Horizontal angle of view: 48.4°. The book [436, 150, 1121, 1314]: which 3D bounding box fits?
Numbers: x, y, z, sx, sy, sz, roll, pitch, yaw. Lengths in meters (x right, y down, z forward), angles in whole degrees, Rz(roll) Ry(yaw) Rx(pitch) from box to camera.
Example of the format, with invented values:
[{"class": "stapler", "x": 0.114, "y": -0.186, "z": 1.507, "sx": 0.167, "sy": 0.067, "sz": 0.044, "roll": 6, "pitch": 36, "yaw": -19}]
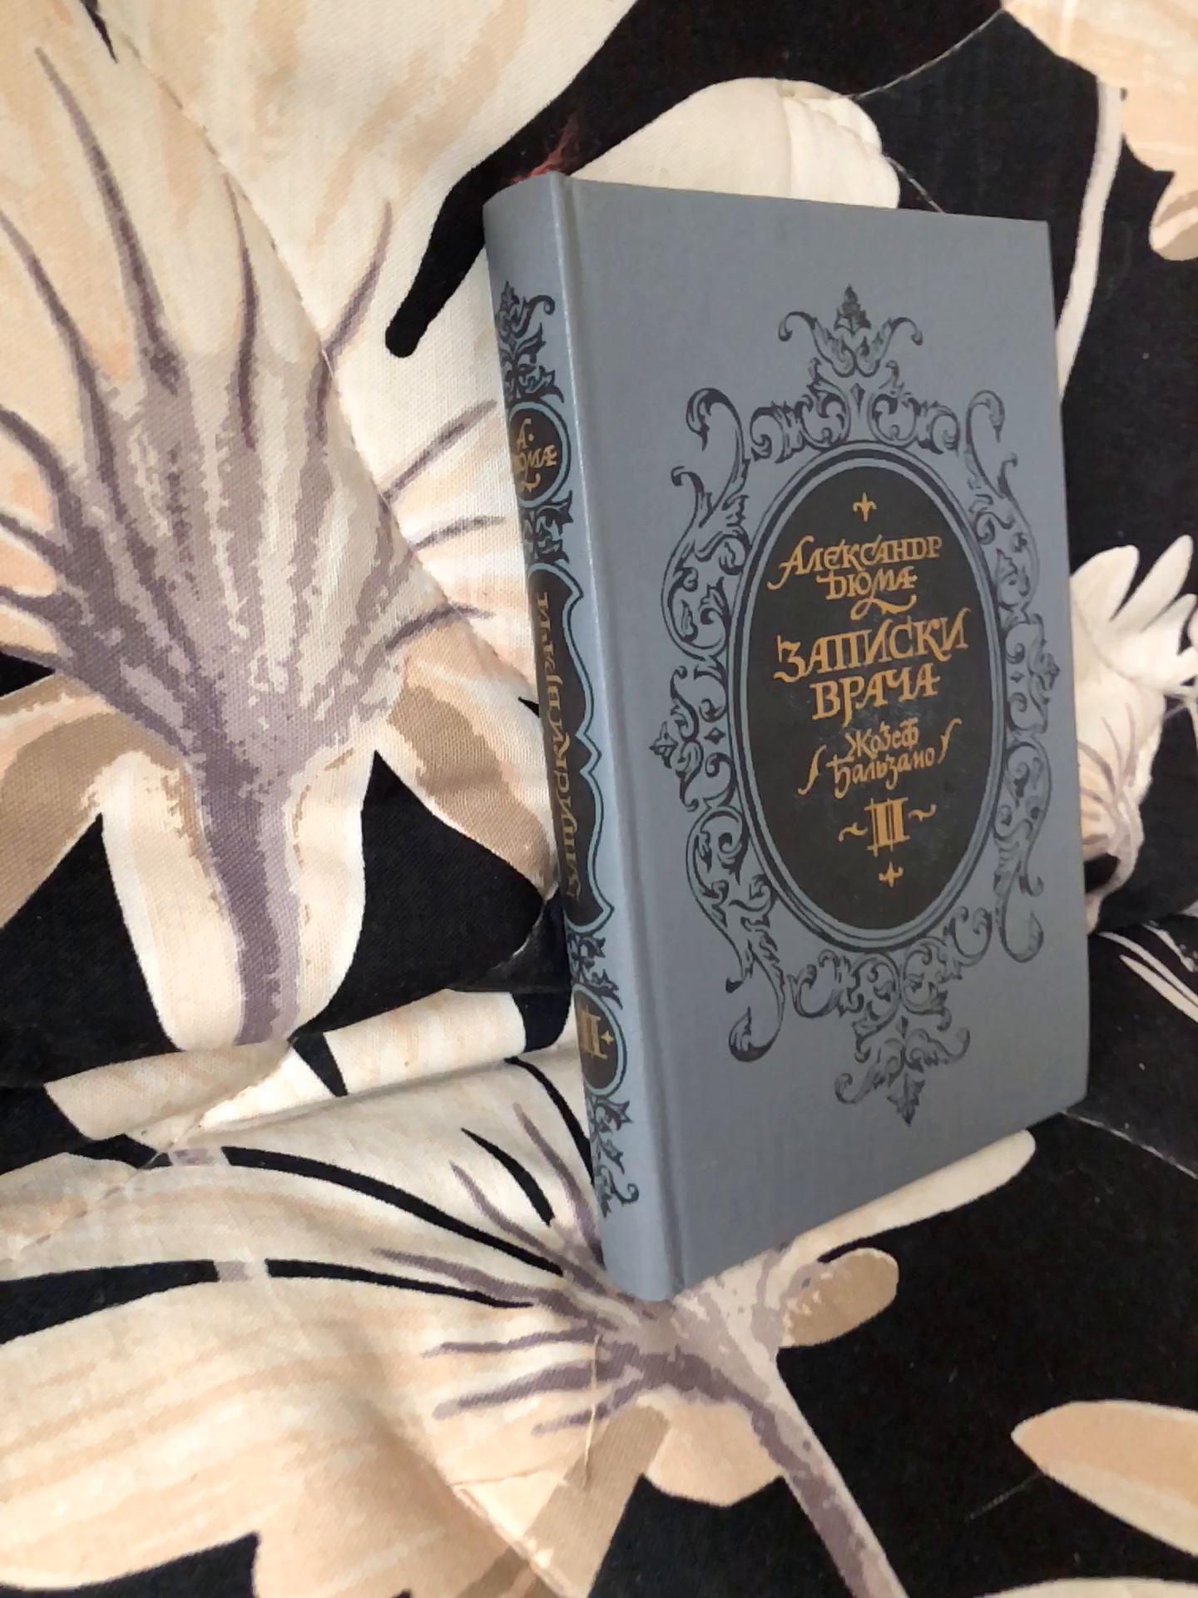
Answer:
[{"class": "book", "x": 0.049, "y": -0.019, "z": 0.283, "sx": 0.141, "sy": 0.030, "sz": 0.206, "roll": -12, "pitch": 100, "yaw": -32}]
